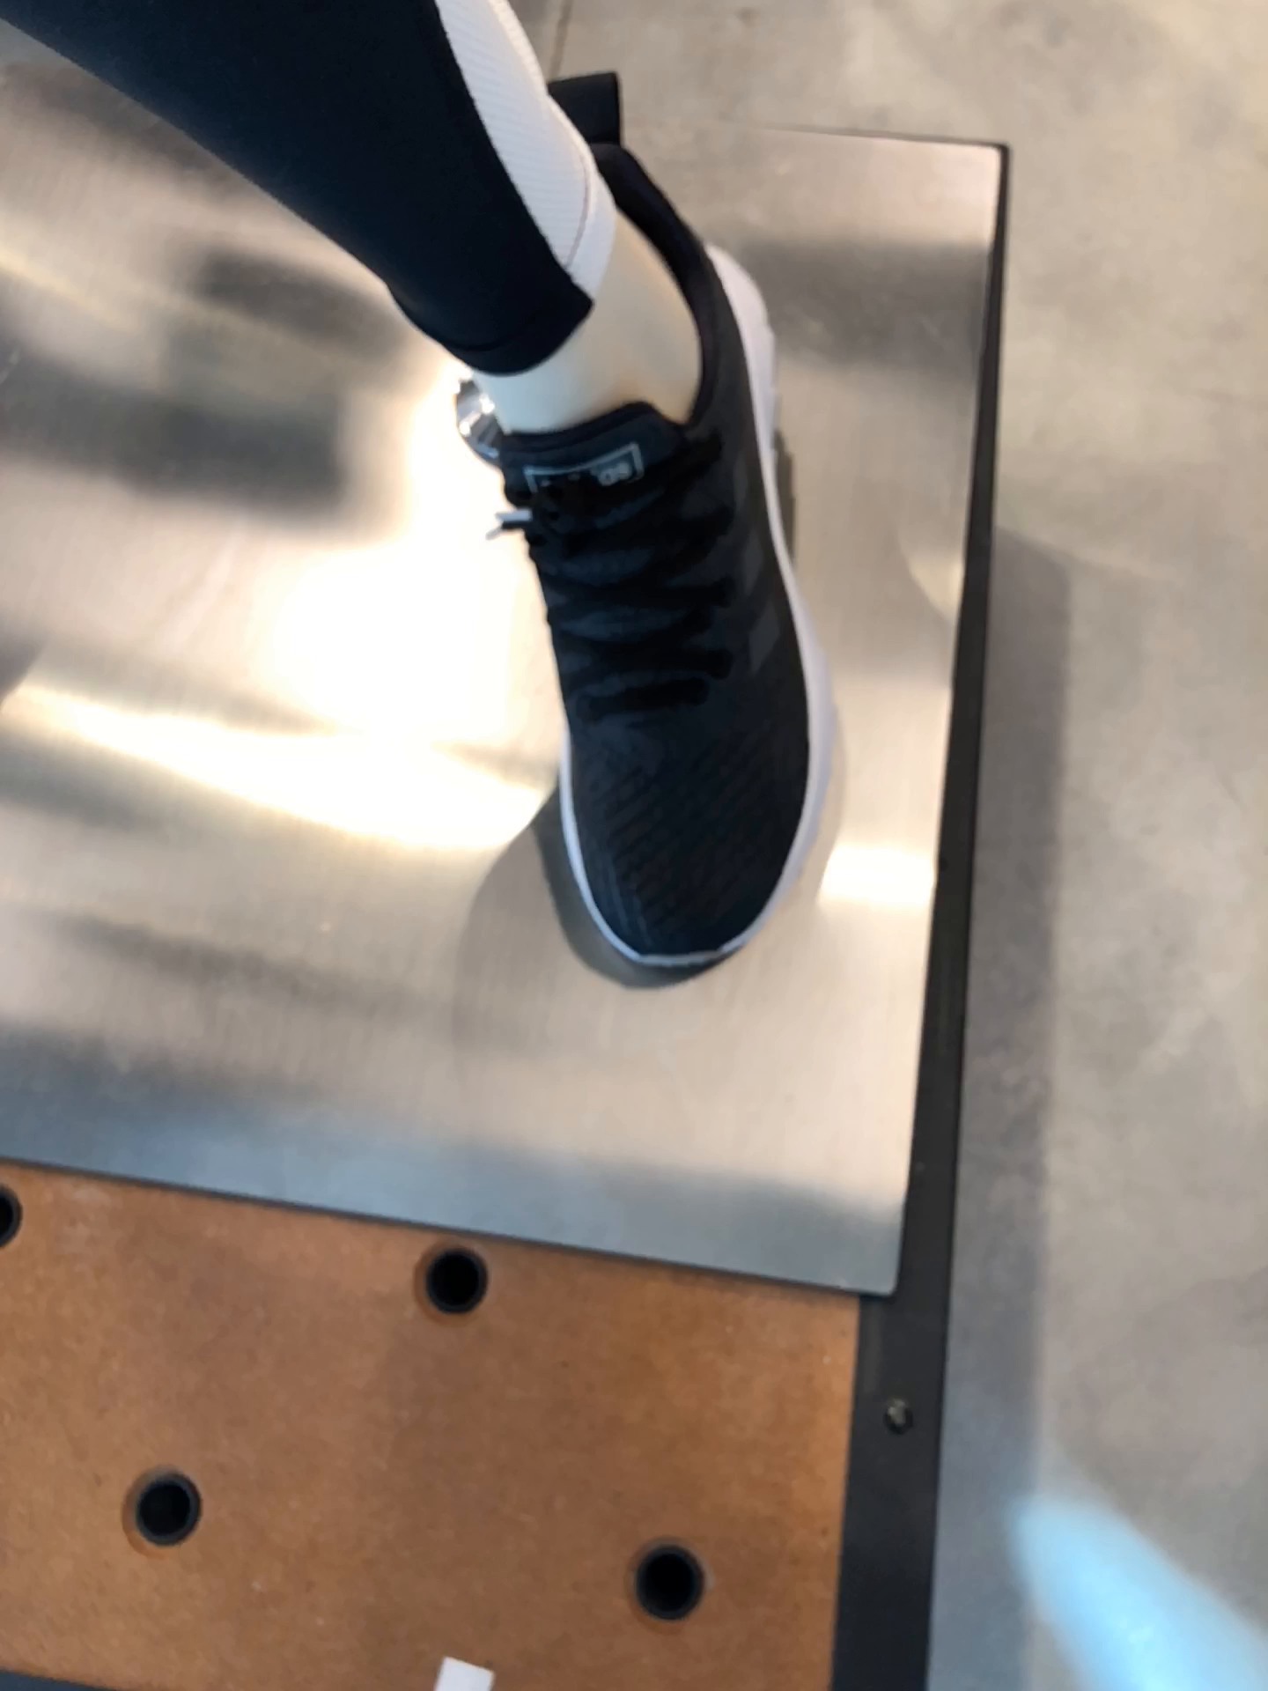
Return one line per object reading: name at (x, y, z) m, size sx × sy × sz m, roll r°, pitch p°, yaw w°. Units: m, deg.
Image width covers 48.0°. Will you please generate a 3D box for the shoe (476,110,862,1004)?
shoe at (0.014, -0.095, 0.516) m, size 0.110 × 0.100 × 0.290 m, roll -5°, pitch 79°, yaw 10°
